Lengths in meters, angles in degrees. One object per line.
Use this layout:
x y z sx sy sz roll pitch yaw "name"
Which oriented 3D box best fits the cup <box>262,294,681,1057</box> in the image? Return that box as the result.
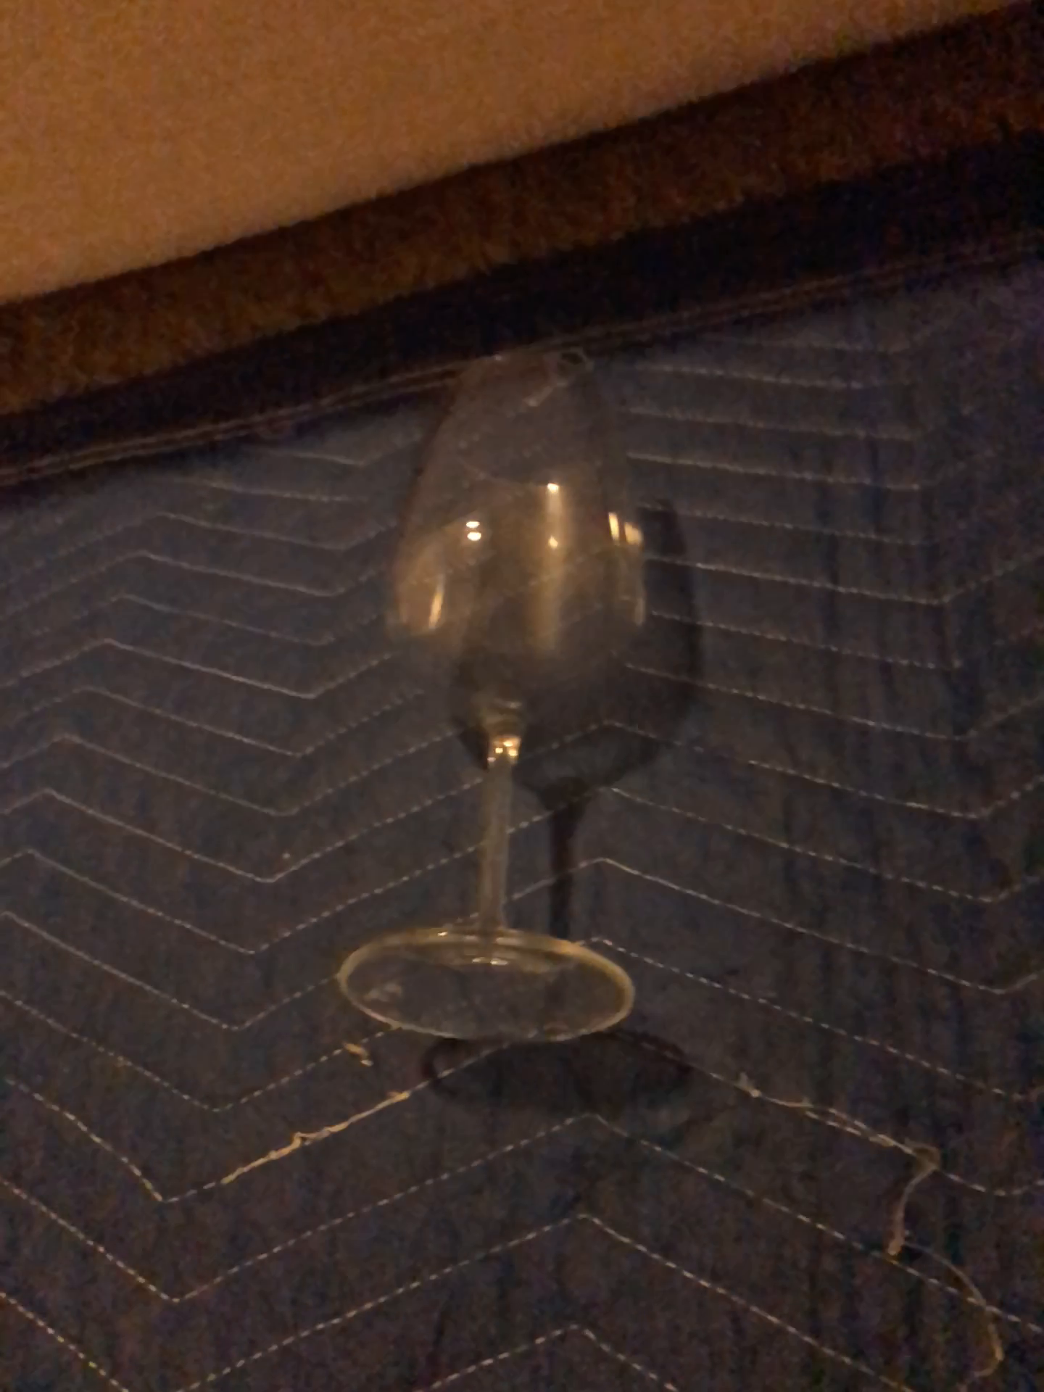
-0.002 -0.010 0.354 0.080 0.090 0.210 -8 54 18 "cup"
